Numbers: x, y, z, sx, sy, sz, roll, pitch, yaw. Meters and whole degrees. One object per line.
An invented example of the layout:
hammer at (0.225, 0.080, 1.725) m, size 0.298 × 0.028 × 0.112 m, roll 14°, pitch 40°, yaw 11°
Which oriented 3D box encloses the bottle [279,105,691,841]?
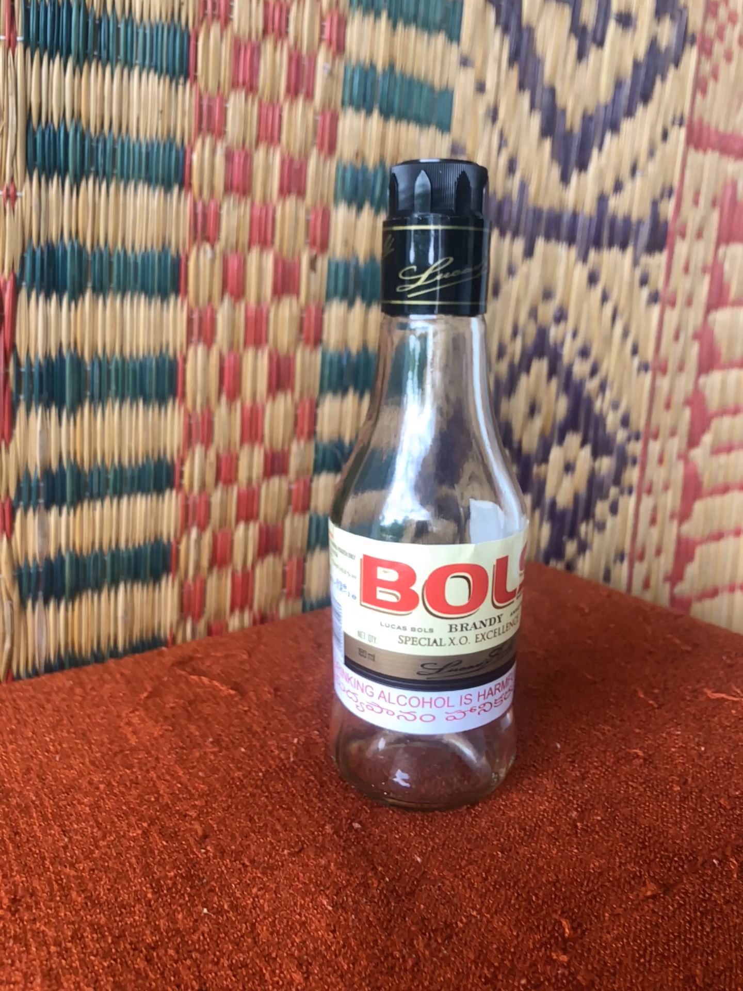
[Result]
bottle at (0.024, -0.007, 0.219) m, size 0.070 × 0.159 × 0.060 m, roll -5°, pitch 17°, yaw -32°
